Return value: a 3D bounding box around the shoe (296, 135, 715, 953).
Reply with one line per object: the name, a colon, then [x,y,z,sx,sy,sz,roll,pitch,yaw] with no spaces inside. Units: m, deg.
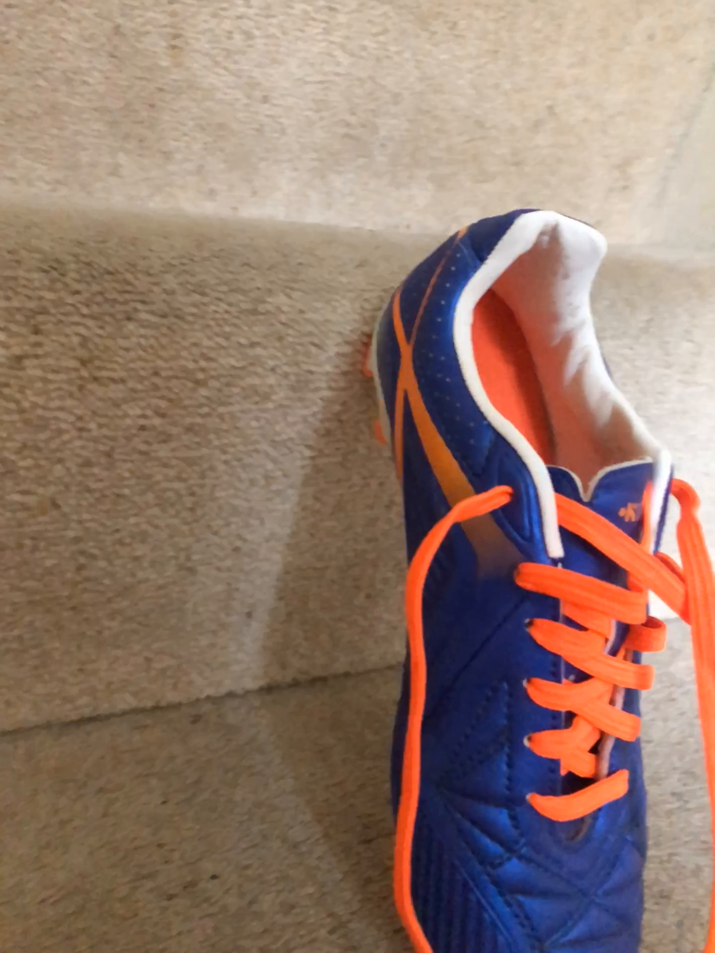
shoe: [0.039,0.030,0.226,0.070,0.211,0.099,3,-19,-24]
